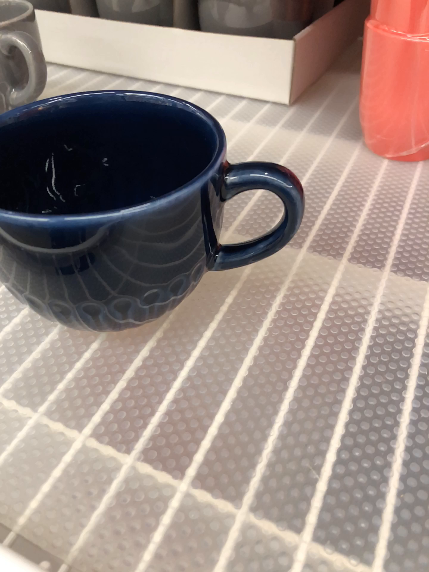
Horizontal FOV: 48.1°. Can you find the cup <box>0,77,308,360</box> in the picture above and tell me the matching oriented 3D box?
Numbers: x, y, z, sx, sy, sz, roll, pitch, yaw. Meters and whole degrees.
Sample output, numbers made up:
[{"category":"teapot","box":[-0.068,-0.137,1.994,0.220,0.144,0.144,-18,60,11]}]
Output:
[{"category":"cup","box":[-0.033,-0.036,0.198,0.130,0.060,0.110,3,42,5]}]
